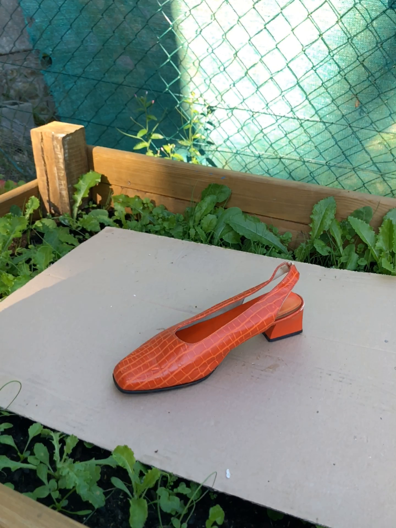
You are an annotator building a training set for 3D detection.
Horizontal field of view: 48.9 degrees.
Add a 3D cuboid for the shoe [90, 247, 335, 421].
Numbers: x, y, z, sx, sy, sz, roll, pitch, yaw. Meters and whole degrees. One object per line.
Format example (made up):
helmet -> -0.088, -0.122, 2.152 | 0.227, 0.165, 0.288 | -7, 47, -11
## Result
shoe -> 0.020, 0.069, 0.504 | 0.261, 0.089, 0.090 | -15, 36, -24
